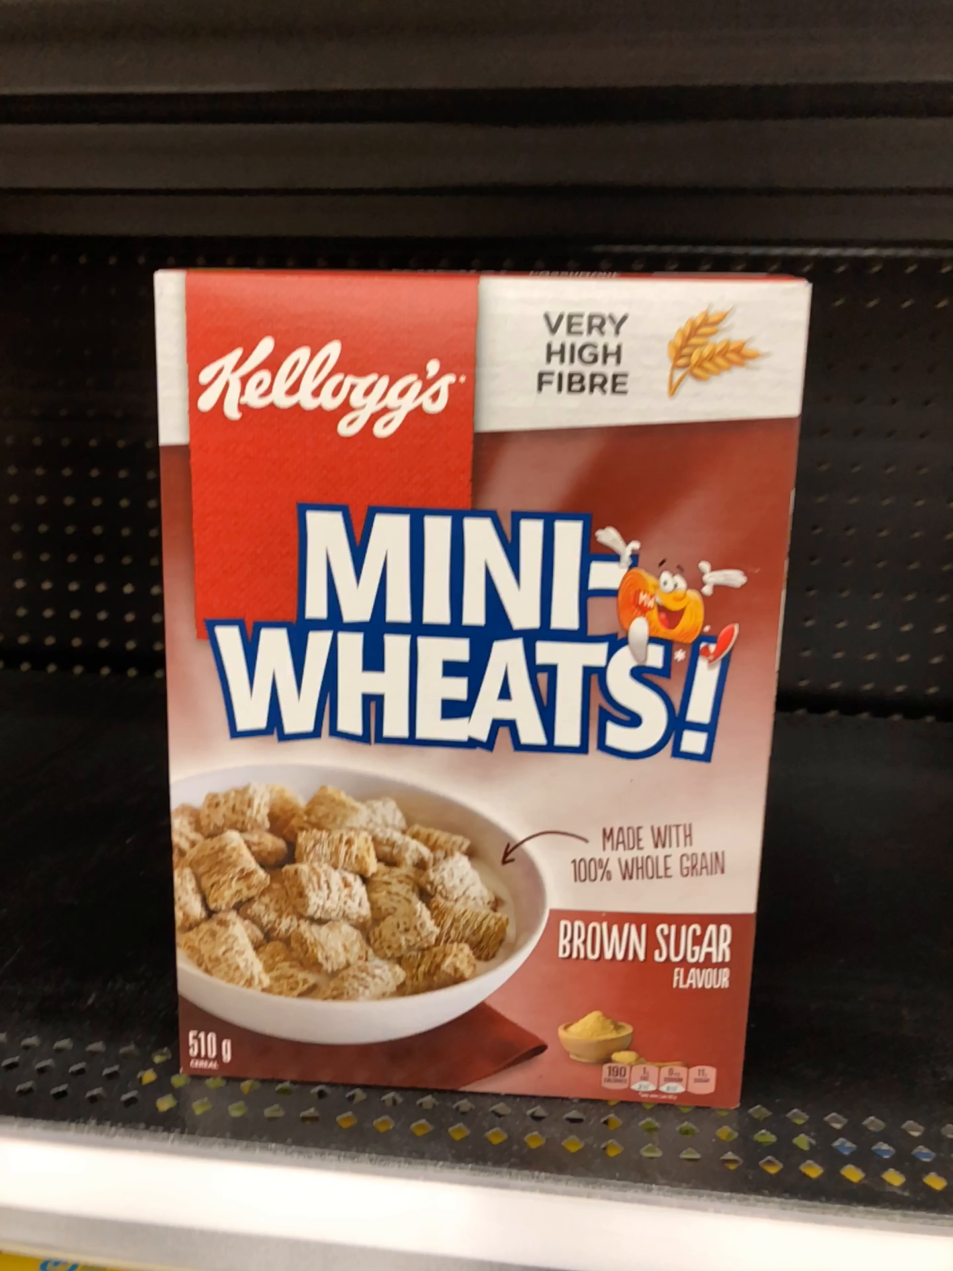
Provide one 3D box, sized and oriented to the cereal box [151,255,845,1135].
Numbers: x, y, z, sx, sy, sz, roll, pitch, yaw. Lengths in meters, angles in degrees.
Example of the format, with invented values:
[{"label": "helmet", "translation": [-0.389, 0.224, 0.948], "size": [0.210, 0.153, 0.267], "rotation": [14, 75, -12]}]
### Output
[{"label": "cereal box", "translation": [0.003, 0.021, 0.363], "size": [0.200, 0.279, 0.060], "rotation": [2, 12, 4]}]
